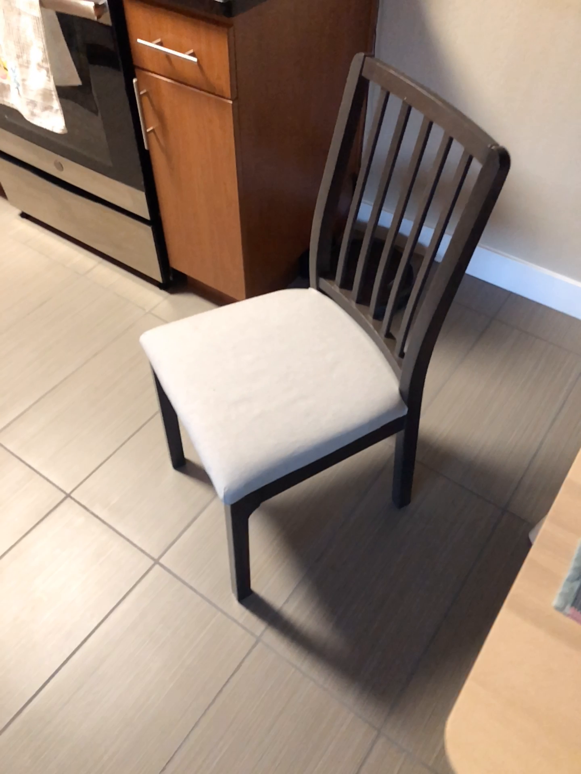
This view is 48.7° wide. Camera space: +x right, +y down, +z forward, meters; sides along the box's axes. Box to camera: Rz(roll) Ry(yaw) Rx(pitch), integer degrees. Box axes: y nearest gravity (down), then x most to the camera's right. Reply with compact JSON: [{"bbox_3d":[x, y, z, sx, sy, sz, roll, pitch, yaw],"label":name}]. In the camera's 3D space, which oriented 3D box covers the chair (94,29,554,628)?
[{"bbox_3d":[0.016,-0.026,1.355,0.510,1.125,0.482,-18,51,-16],"label":"chair"}]
